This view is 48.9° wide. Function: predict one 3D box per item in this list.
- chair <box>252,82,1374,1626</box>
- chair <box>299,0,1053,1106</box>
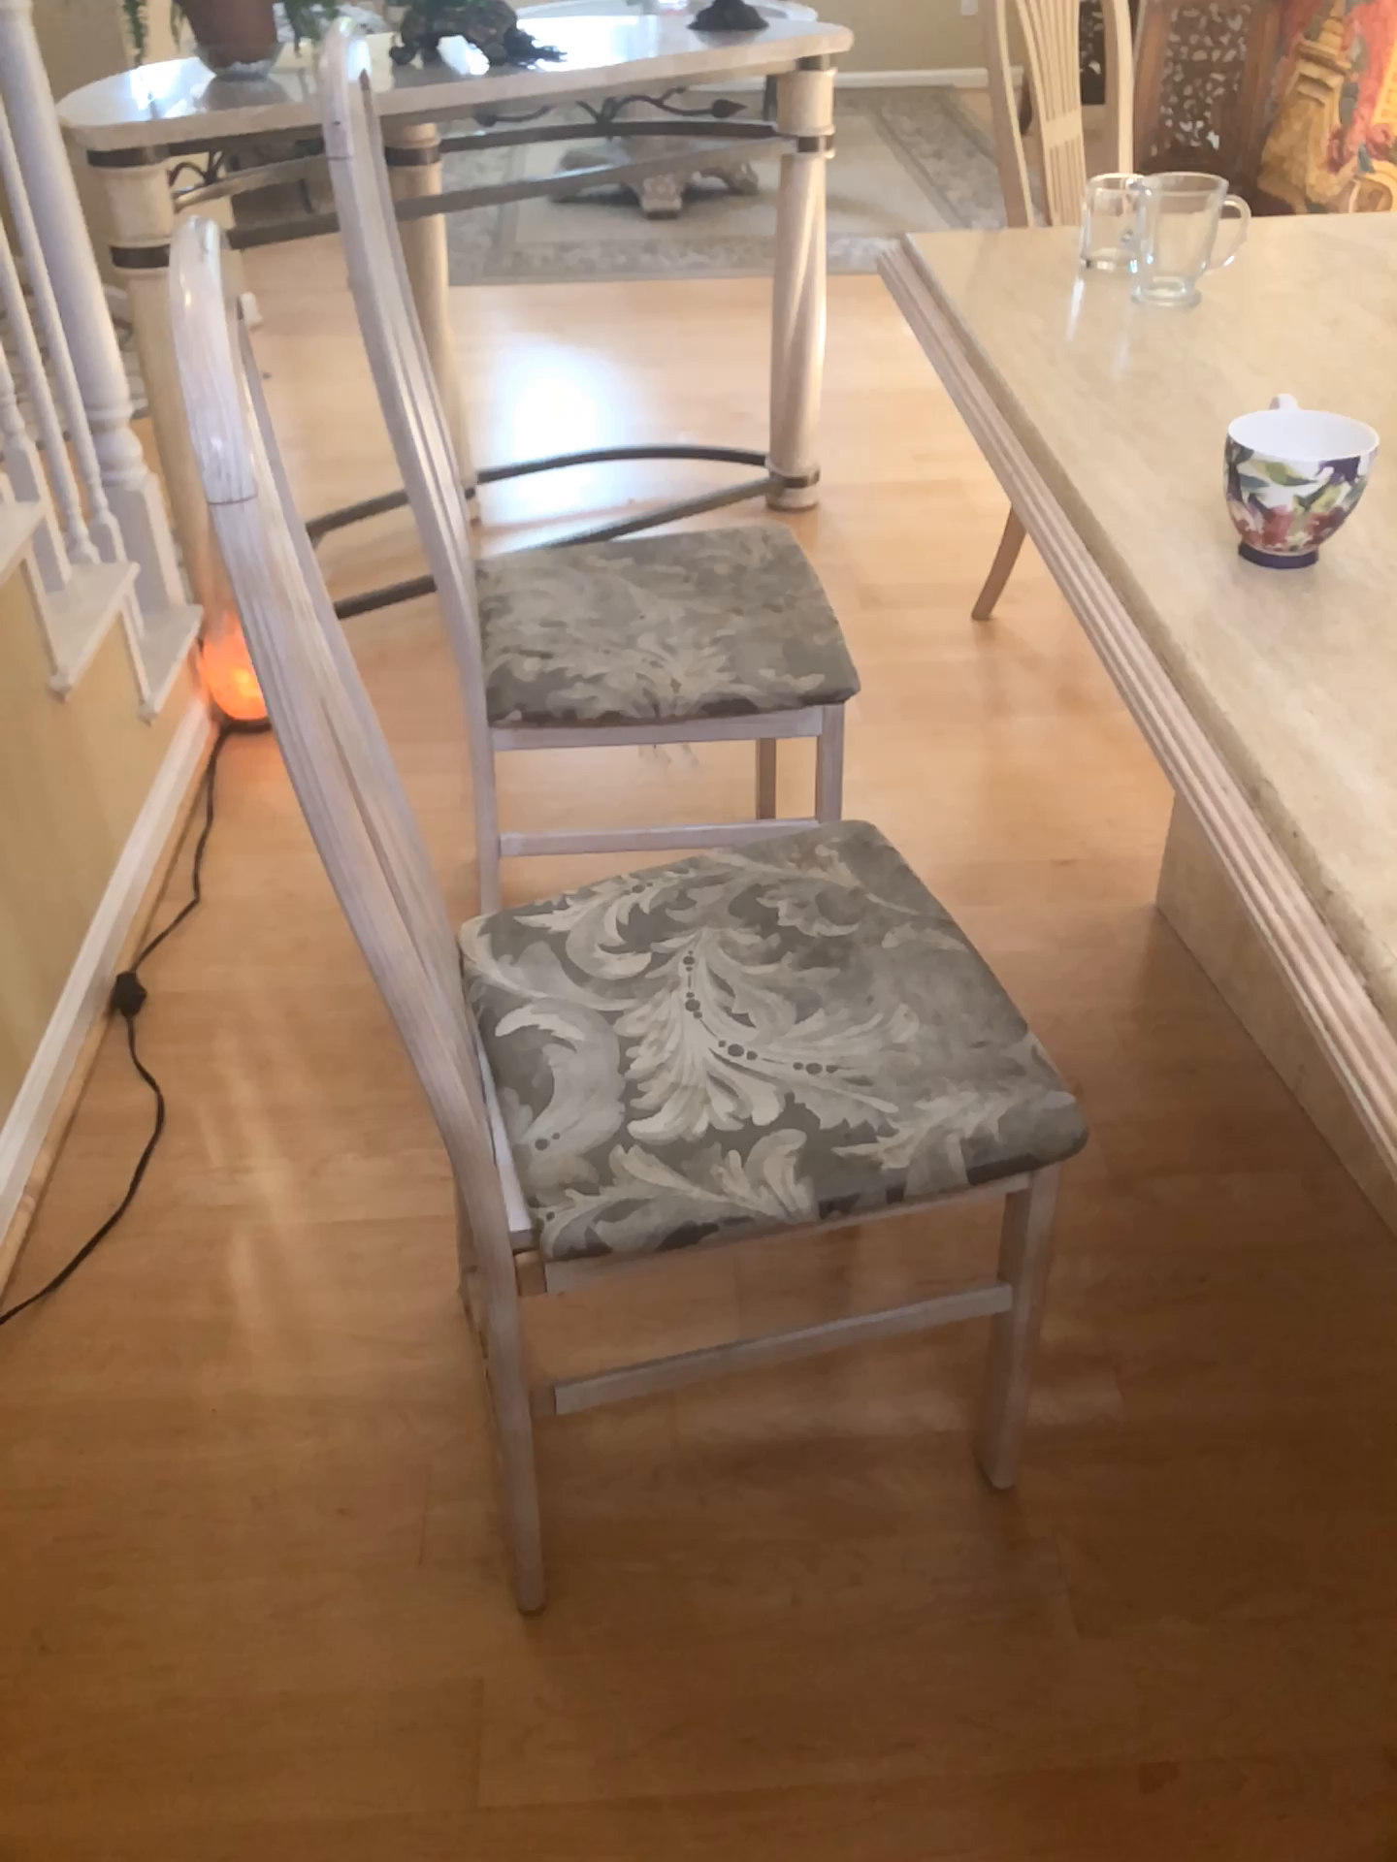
[{"bbox_3d":[0.024,-0.014,1.270,0.561,1.139,0.484,-6,37,-9],"label":"chair"},{"bbox_3d":[-0.018,-0.424,1.668,0.560,1.140,0.484,-6,37,-4],"label":"chair"}]
